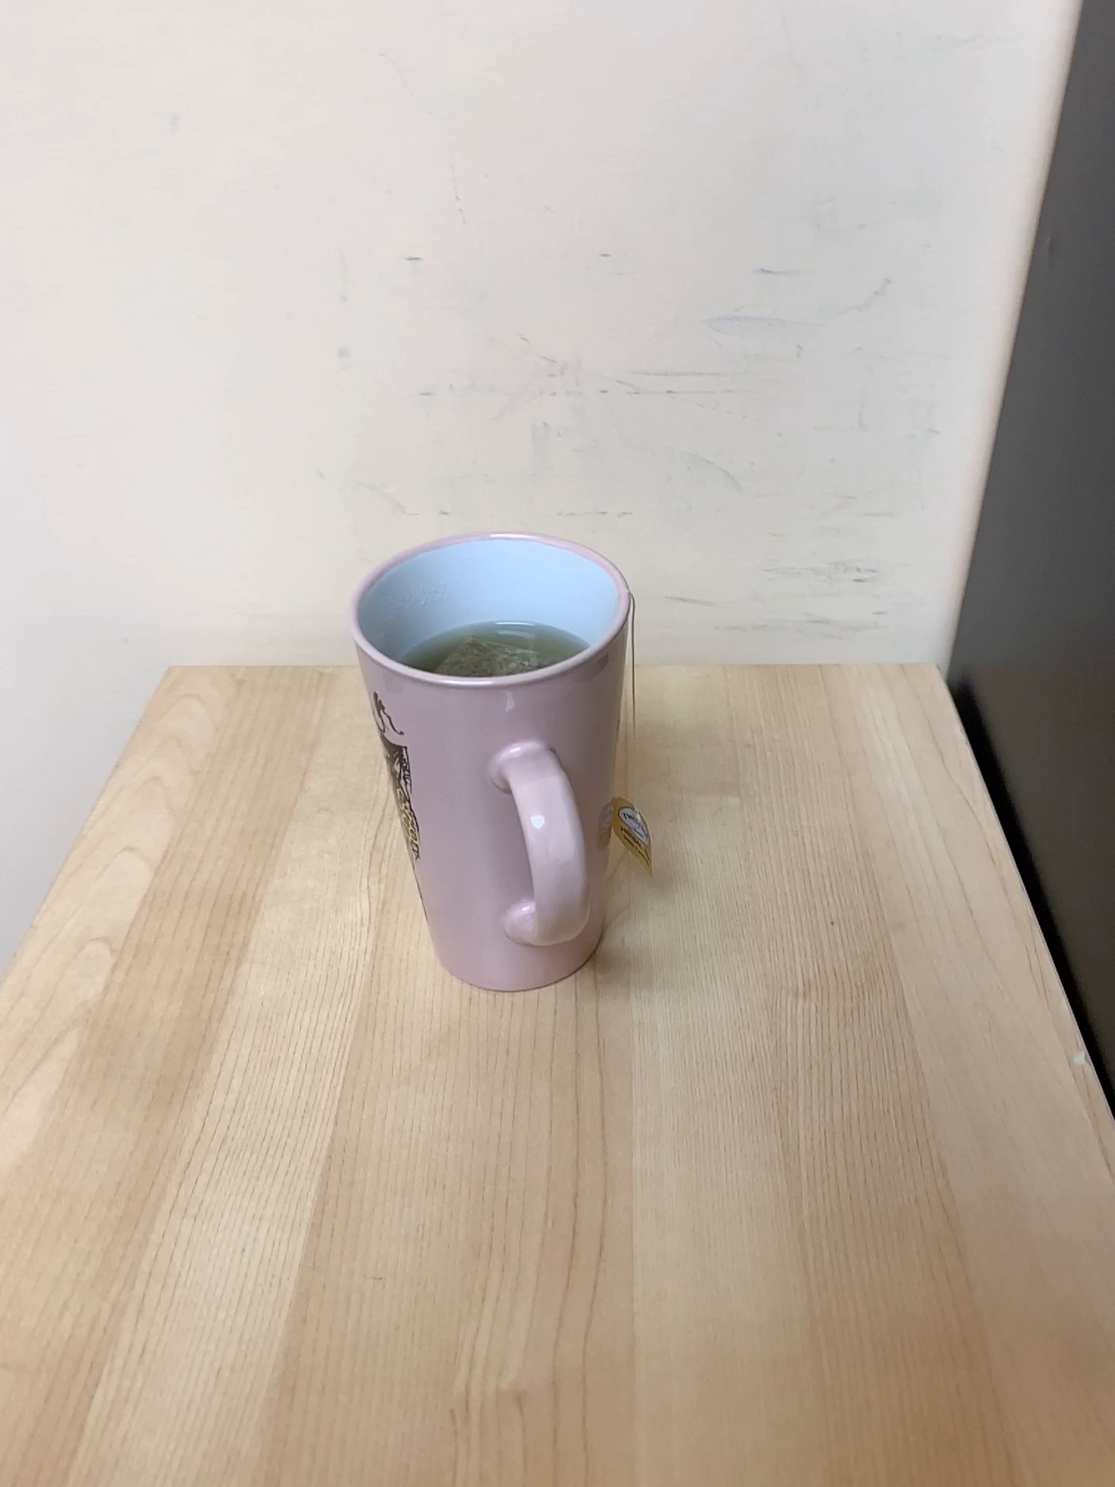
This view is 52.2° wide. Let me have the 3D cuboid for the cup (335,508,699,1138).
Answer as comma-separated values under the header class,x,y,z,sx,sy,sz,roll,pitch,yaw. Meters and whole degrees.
class,x,y,z,sx,sy,sz,roll,pitch,yaw
cup,-0.017,0.024,0.386,0.092,0.151,0.134,-7,38,-6
